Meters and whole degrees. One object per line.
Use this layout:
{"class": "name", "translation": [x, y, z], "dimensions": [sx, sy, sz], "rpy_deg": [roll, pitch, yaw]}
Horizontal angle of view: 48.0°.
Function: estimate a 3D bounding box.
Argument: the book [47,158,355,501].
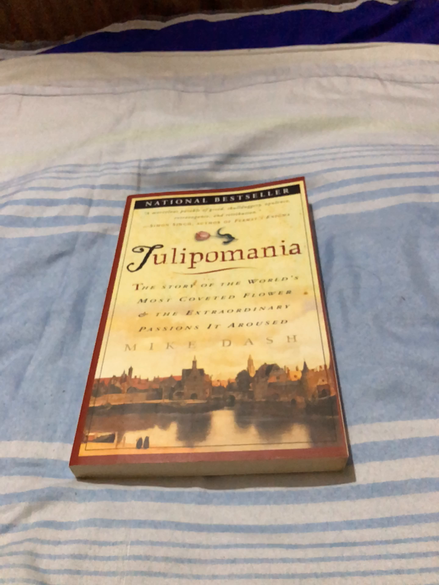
{"class": "book", "translation": [-0.006, 0.005, 0.318], "dimensions": [0.140, 0.050, 0.231], "rpy_deg": [-3, 48, 5]}
